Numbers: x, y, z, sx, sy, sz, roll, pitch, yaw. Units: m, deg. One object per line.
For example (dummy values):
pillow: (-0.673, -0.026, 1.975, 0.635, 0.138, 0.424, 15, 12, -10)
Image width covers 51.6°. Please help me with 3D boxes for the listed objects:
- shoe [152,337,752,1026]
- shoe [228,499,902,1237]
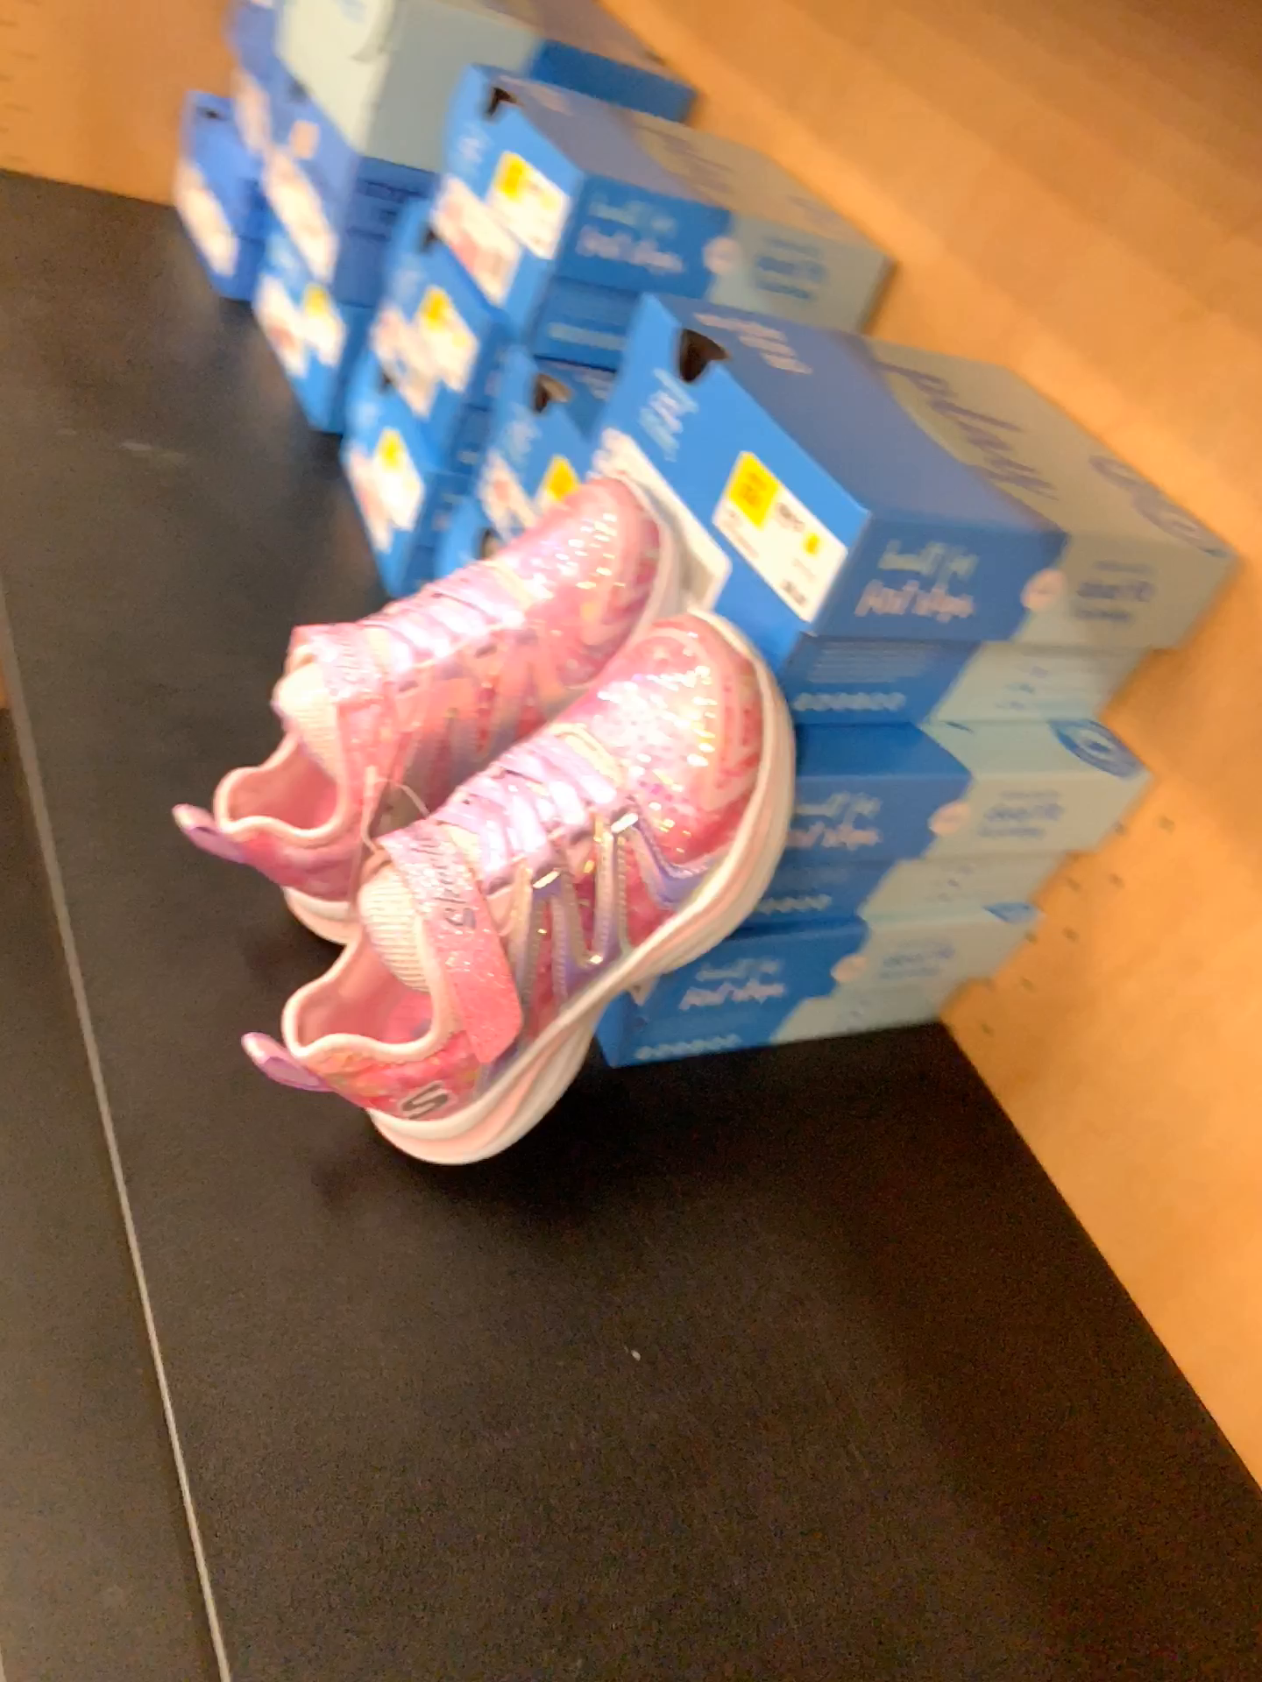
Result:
shoe: (-0.069, -0.049, 0.456, 0.080, 0.209, 0.090, 21, 22, -45)
shoe: (-0.026, 0.015, 0.402, 0.080, 0.199, 0.090, 17, 23, -49)
